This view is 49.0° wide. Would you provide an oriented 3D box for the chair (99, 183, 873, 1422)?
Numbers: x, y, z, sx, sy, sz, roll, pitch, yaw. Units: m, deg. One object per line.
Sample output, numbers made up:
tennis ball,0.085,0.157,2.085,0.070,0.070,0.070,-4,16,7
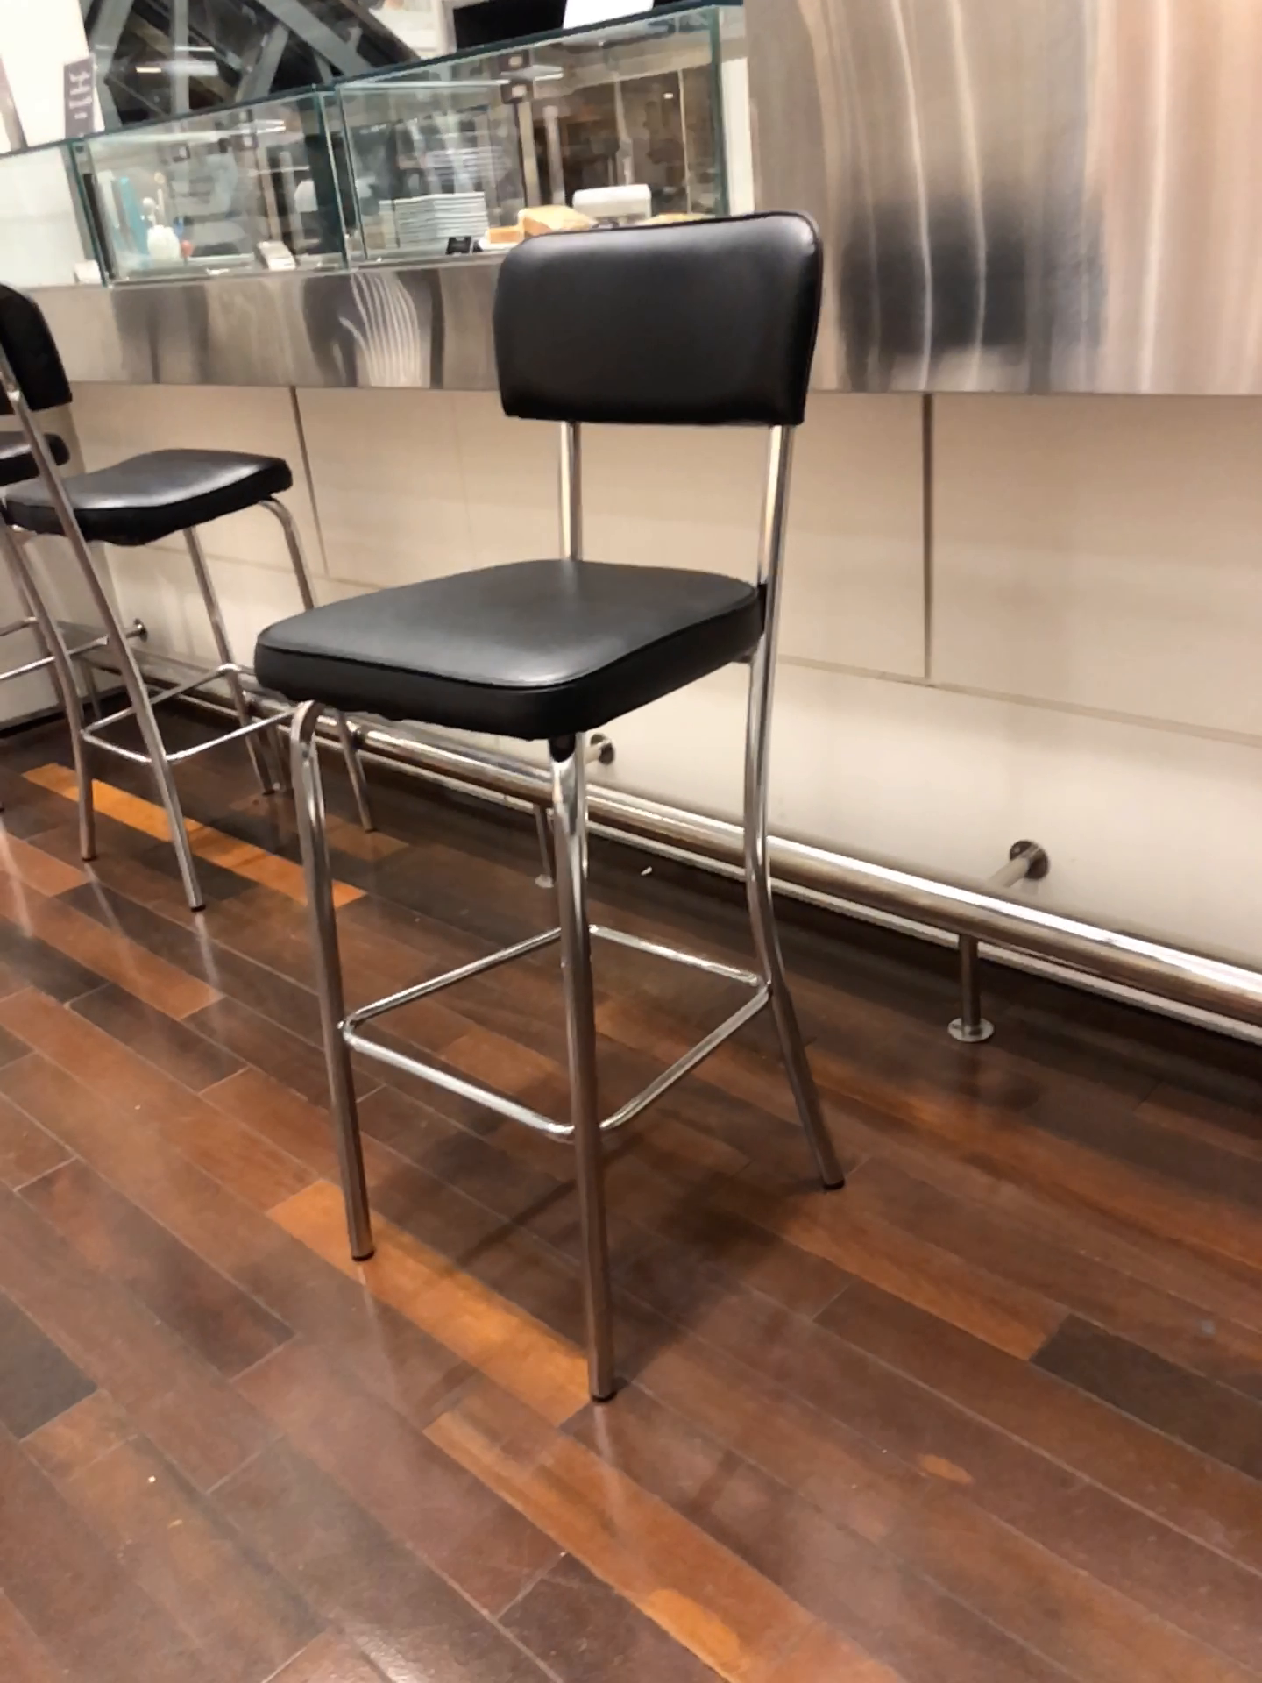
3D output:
chair,-0.080,-0.060,1.362,0.421,1.013,0.472,14,30,39
